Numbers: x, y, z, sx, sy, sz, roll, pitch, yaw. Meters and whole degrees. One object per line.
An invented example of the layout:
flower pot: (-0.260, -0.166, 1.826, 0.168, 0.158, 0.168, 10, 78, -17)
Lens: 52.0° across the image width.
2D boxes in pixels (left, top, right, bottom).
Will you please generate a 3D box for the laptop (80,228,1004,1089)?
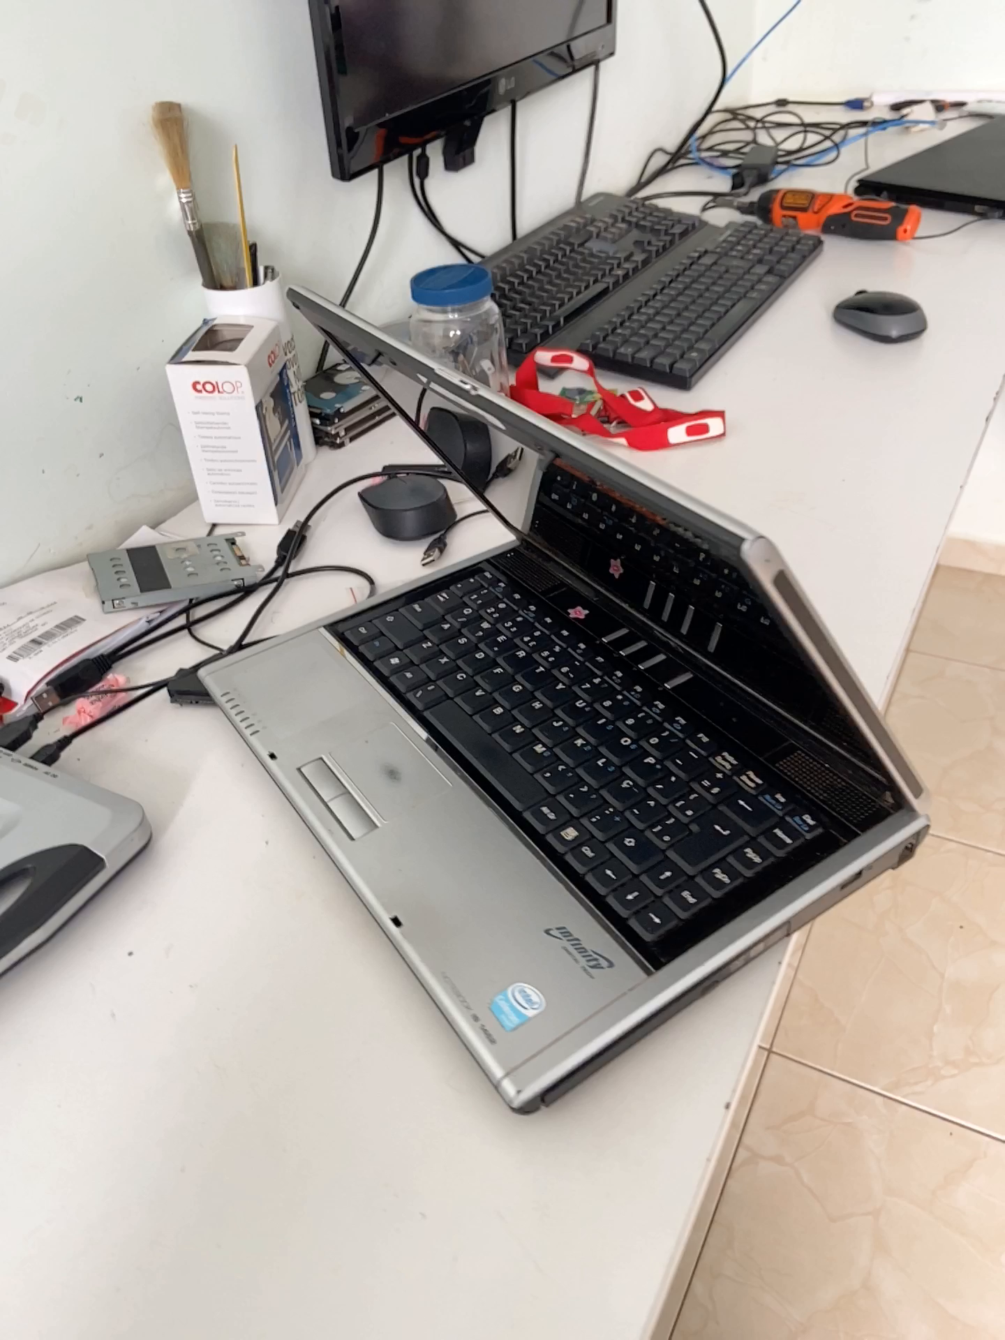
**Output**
laptop: (0.000, -0.048, 0.491, 0.236, 0.210, 0.339, -25, 42, -25)
